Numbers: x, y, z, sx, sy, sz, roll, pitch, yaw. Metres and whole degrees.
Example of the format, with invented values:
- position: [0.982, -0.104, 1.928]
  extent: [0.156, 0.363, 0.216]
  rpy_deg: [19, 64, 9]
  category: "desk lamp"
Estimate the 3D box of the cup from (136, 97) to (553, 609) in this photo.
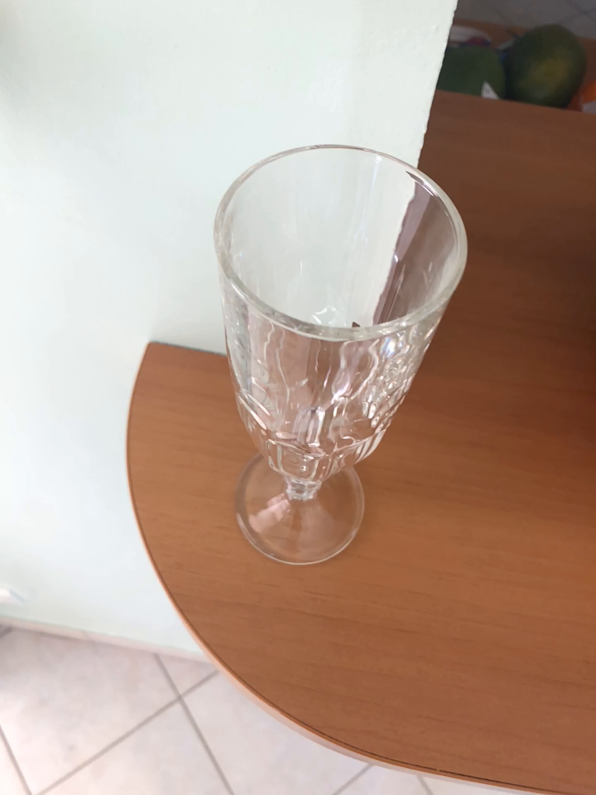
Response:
- position: [0.007, 0.005, 0.221]
  extent: [0.070, 0.169, 0.060]
  rpy_deg: [37, 65, 17]
  category: "cup"
